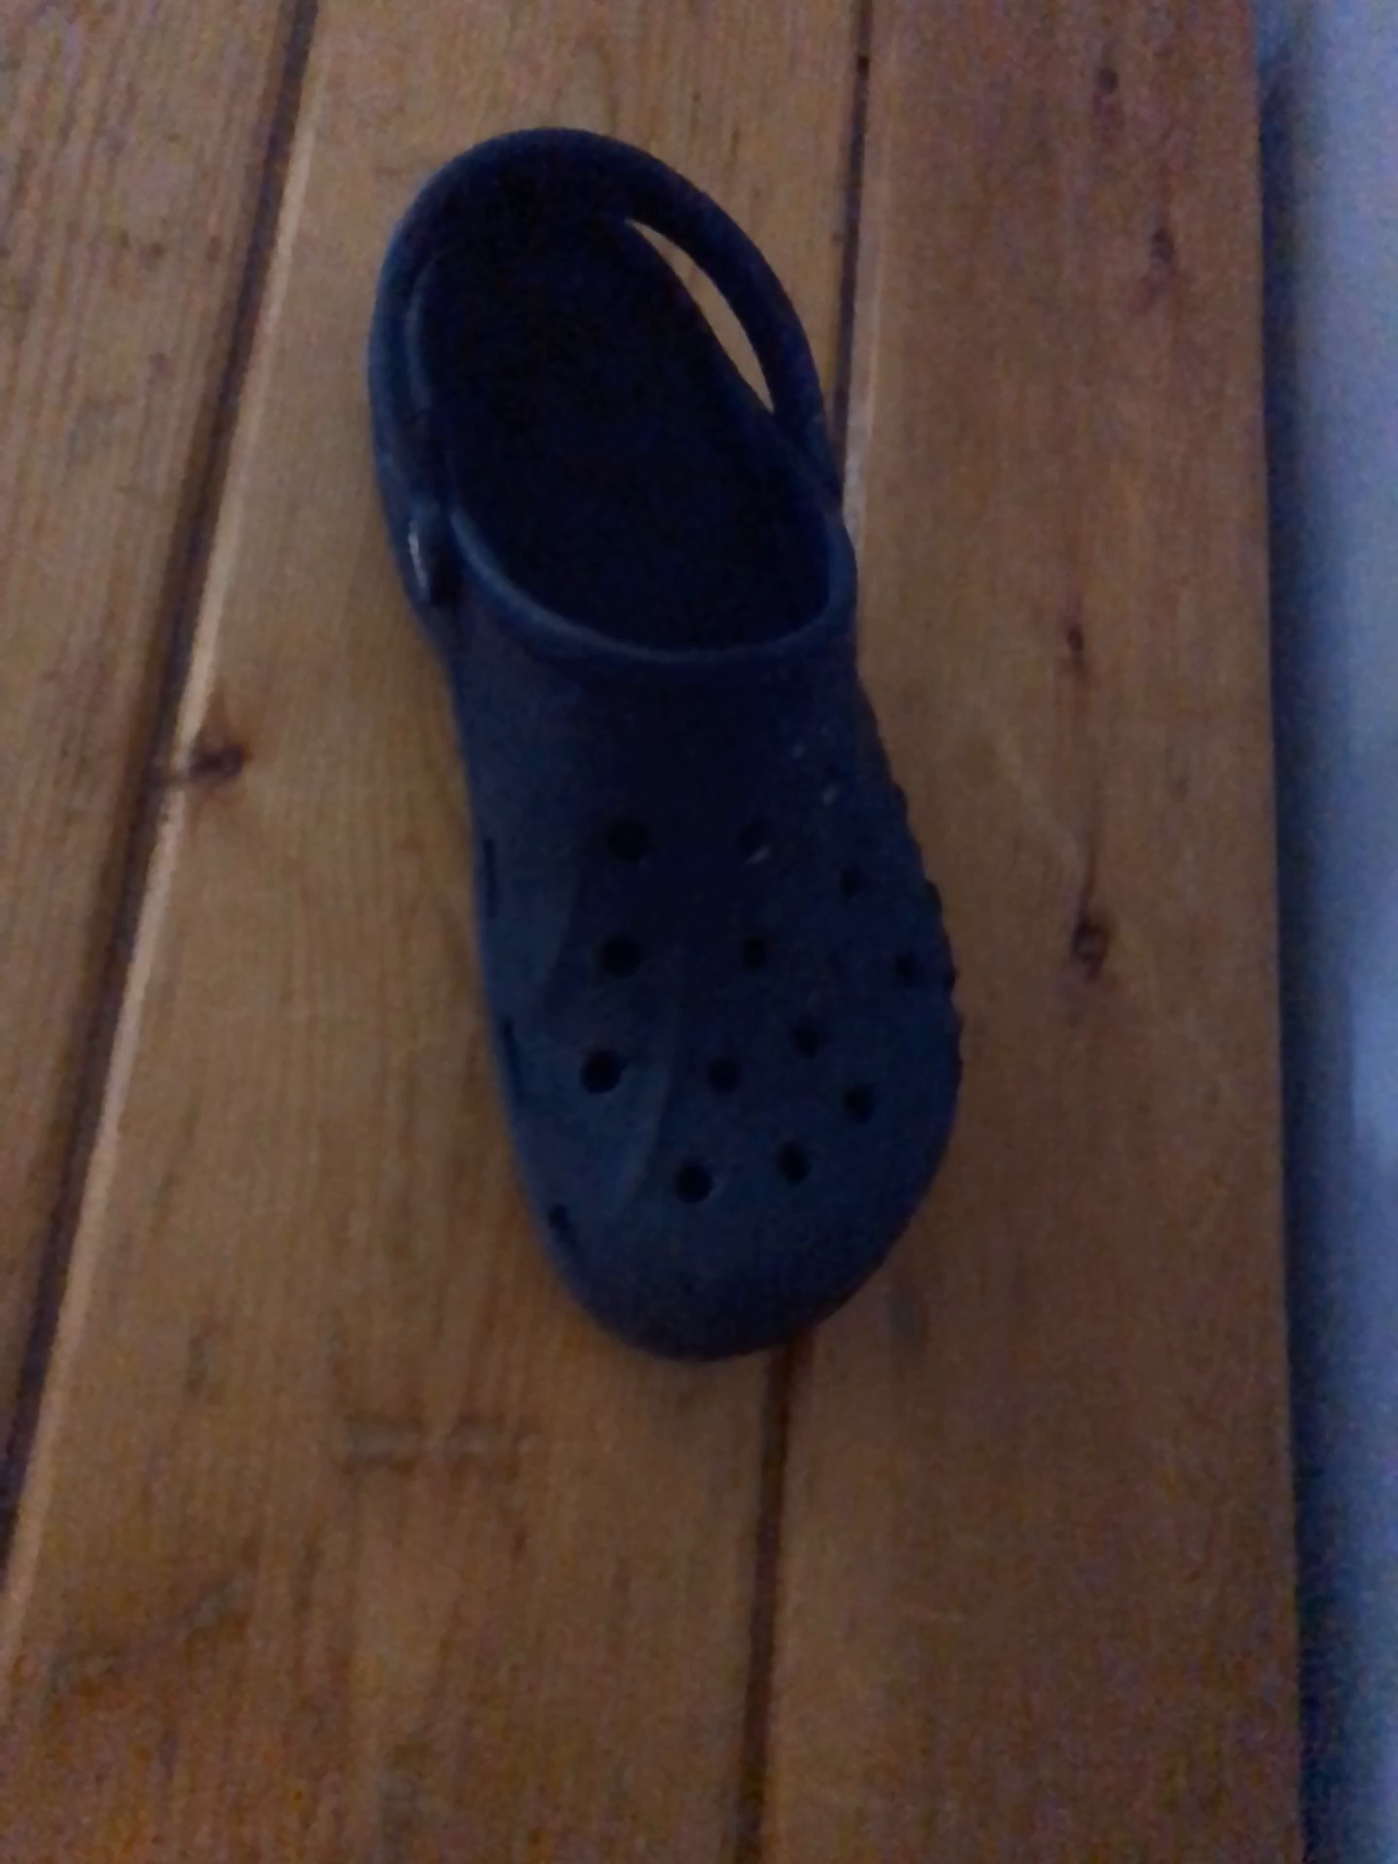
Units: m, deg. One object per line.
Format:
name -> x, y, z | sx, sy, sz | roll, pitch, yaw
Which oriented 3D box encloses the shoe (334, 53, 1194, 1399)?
shoe -> 0.002, -0.051, 0.368 | 0.130, 0.080, 0.290 | -7, 76, -19
